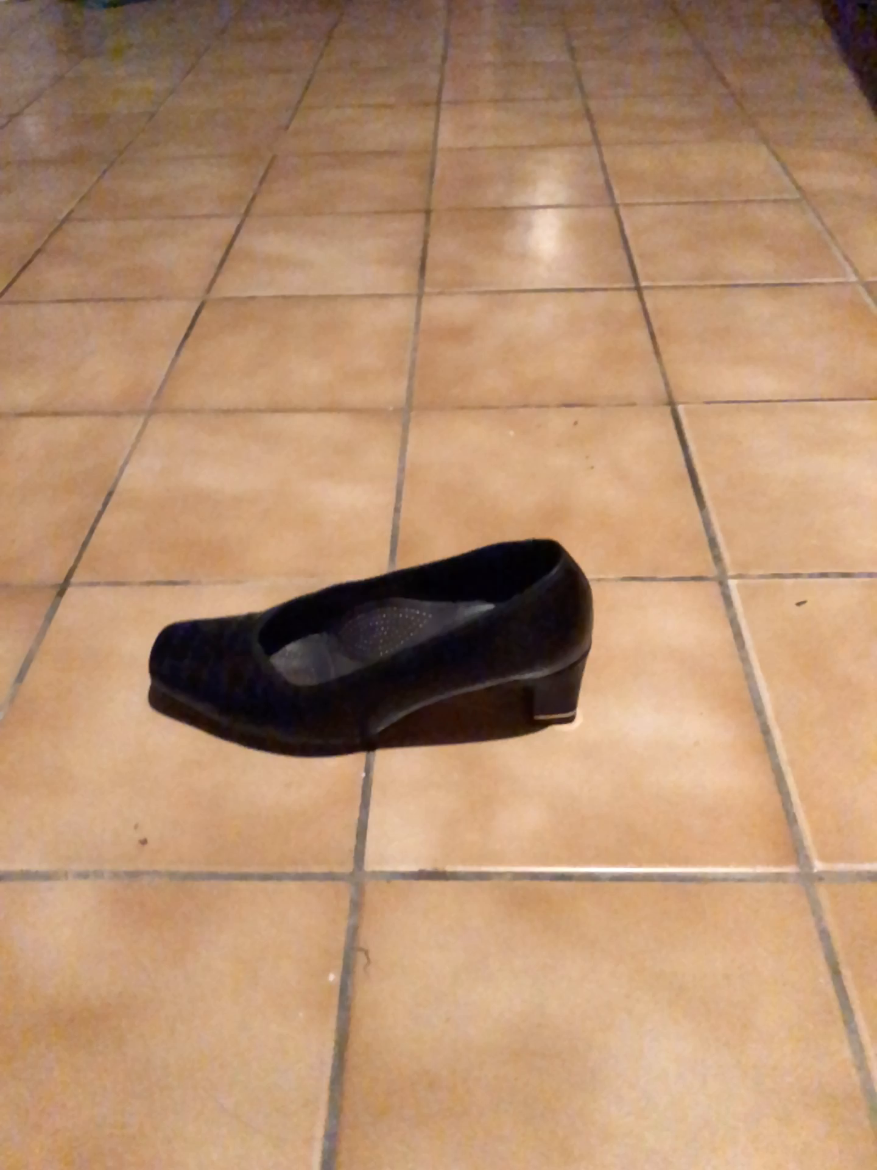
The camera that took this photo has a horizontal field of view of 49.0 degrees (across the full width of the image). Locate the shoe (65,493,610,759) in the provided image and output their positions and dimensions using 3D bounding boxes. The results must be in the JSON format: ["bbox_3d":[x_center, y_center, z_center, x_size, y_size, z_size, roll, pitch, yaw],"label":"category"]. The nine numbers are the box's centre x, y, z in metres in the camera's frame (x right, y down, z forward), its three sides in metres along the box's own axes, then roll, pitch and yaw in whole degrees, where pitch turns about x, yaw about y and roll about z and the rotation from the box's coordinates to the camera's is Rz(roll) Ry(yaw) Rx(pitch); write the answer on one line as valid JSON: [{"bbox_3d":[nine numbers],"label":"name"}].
[{"bbox_3d":[-0.043,0.019,0.504,0.250,0.090,0.101,1,41,5],"label":"shoe"}]
